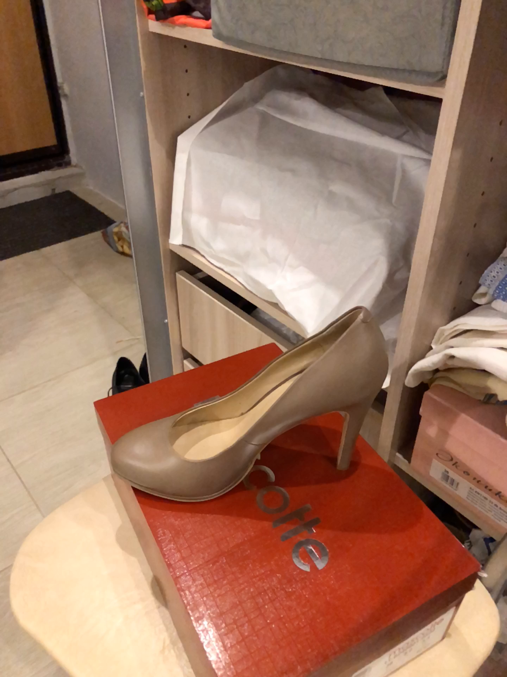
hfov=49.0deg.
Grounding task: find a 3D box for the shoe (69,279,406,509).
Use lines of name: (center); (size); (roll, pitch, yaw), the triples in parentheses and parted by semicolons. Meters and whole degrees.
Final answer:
shoe: (-0.012, 0.043, 0.429); (0.214, 0.145, 0.084); (-3, 36, -4)
